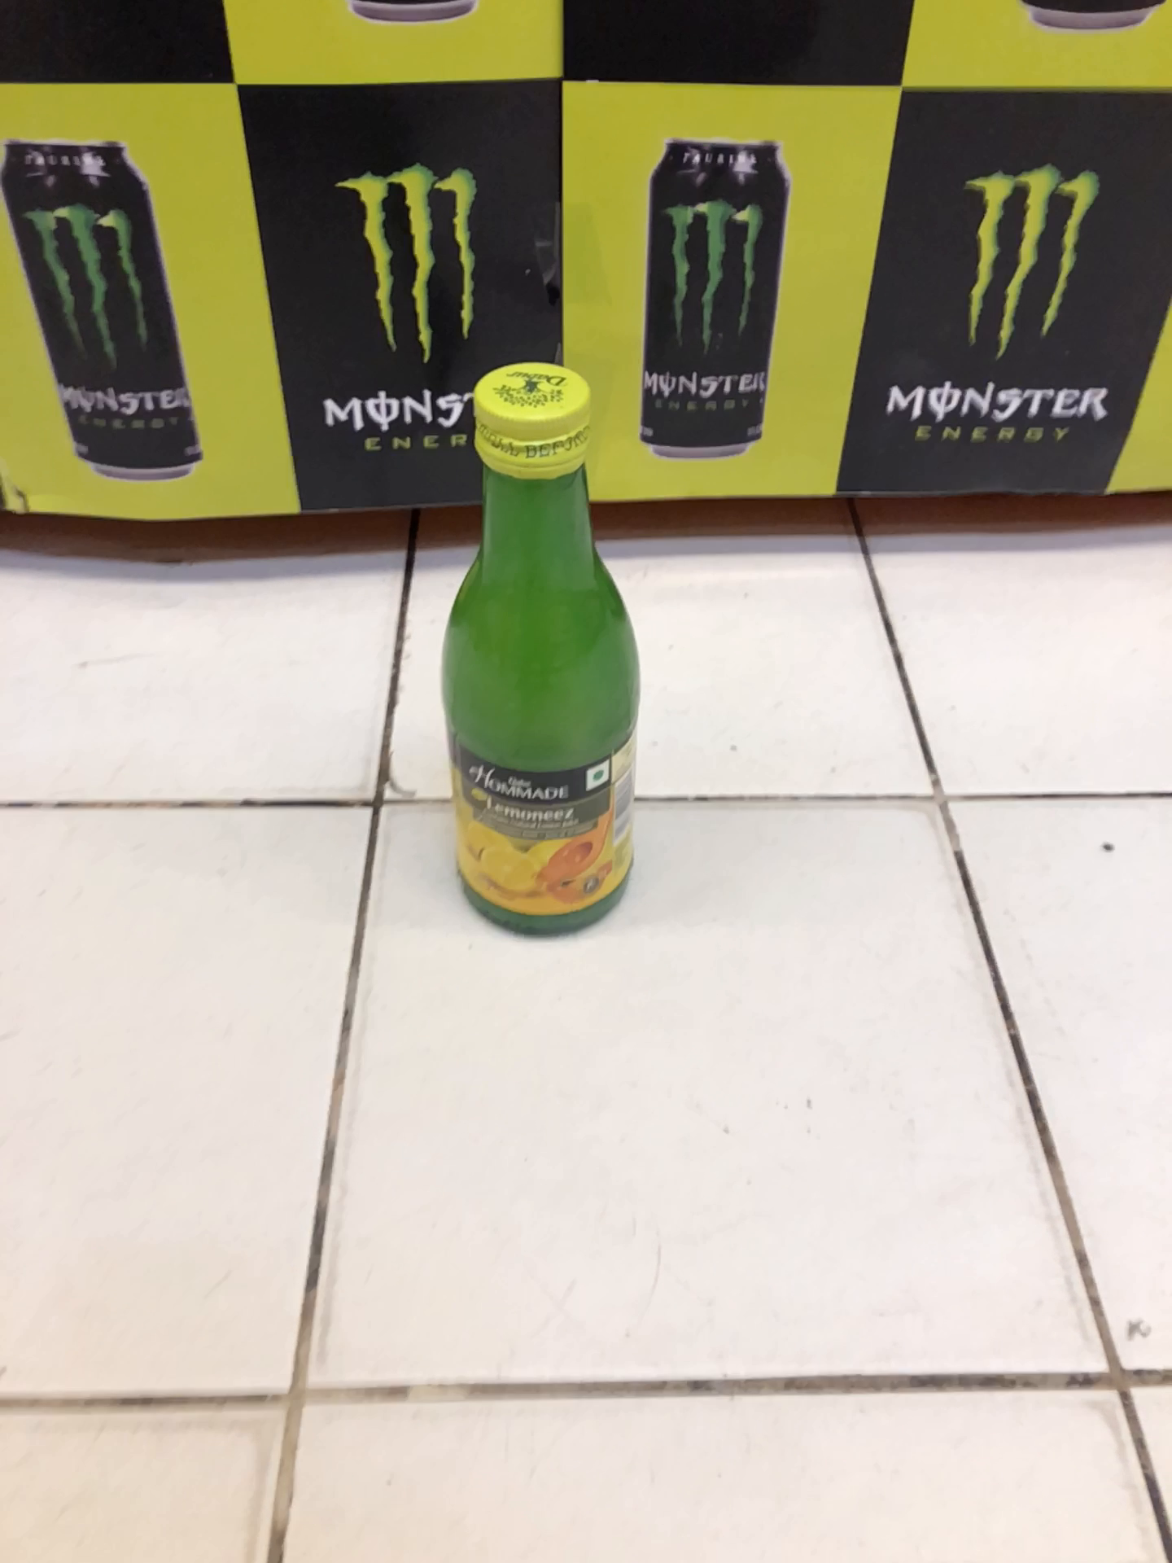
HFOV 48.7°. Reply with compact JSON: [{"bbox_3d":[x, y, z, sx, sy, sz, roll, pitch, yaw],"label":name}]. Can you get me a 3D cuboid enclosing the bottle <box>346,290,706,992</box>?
[{"bbox_3d":[-0.014,-0.031,0.361,0.070,0.179,0.070,1,42,-1],"label":"bottle"}]
